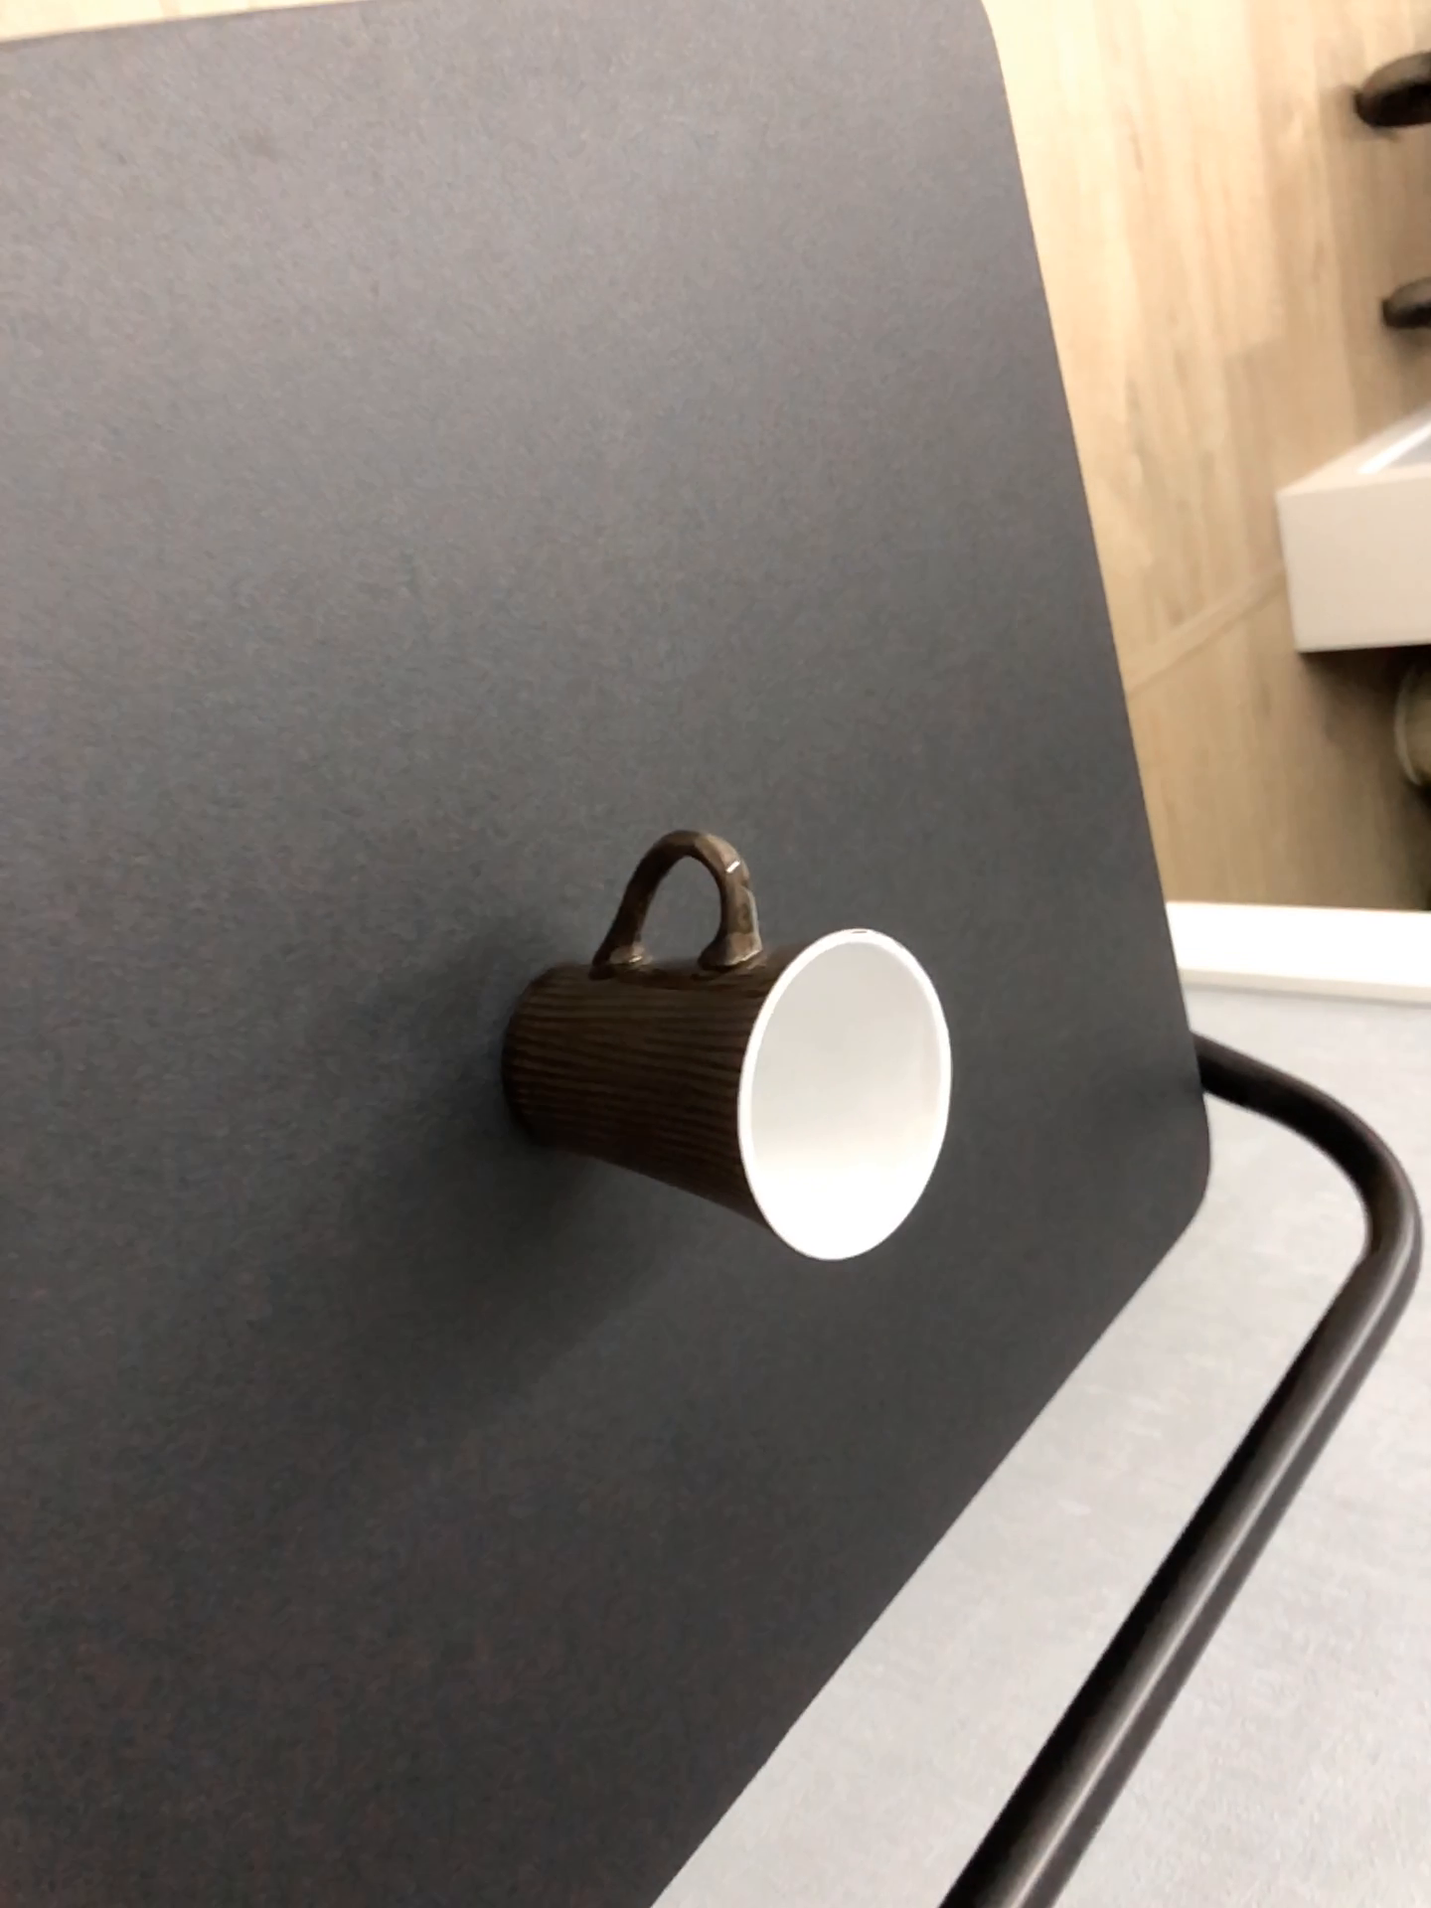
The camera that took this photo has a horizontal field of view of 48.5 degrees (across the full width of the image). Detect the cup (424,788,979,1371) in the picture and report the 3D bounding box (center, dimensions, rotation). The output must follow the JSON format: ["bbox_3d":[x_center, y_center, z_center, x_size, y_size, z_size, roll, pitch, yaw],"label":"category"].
[{"bbox_3d":[-0.001,0.019,0.315,0.066,0.069,0.089,-26,112,-42],"label":"cup"}]
